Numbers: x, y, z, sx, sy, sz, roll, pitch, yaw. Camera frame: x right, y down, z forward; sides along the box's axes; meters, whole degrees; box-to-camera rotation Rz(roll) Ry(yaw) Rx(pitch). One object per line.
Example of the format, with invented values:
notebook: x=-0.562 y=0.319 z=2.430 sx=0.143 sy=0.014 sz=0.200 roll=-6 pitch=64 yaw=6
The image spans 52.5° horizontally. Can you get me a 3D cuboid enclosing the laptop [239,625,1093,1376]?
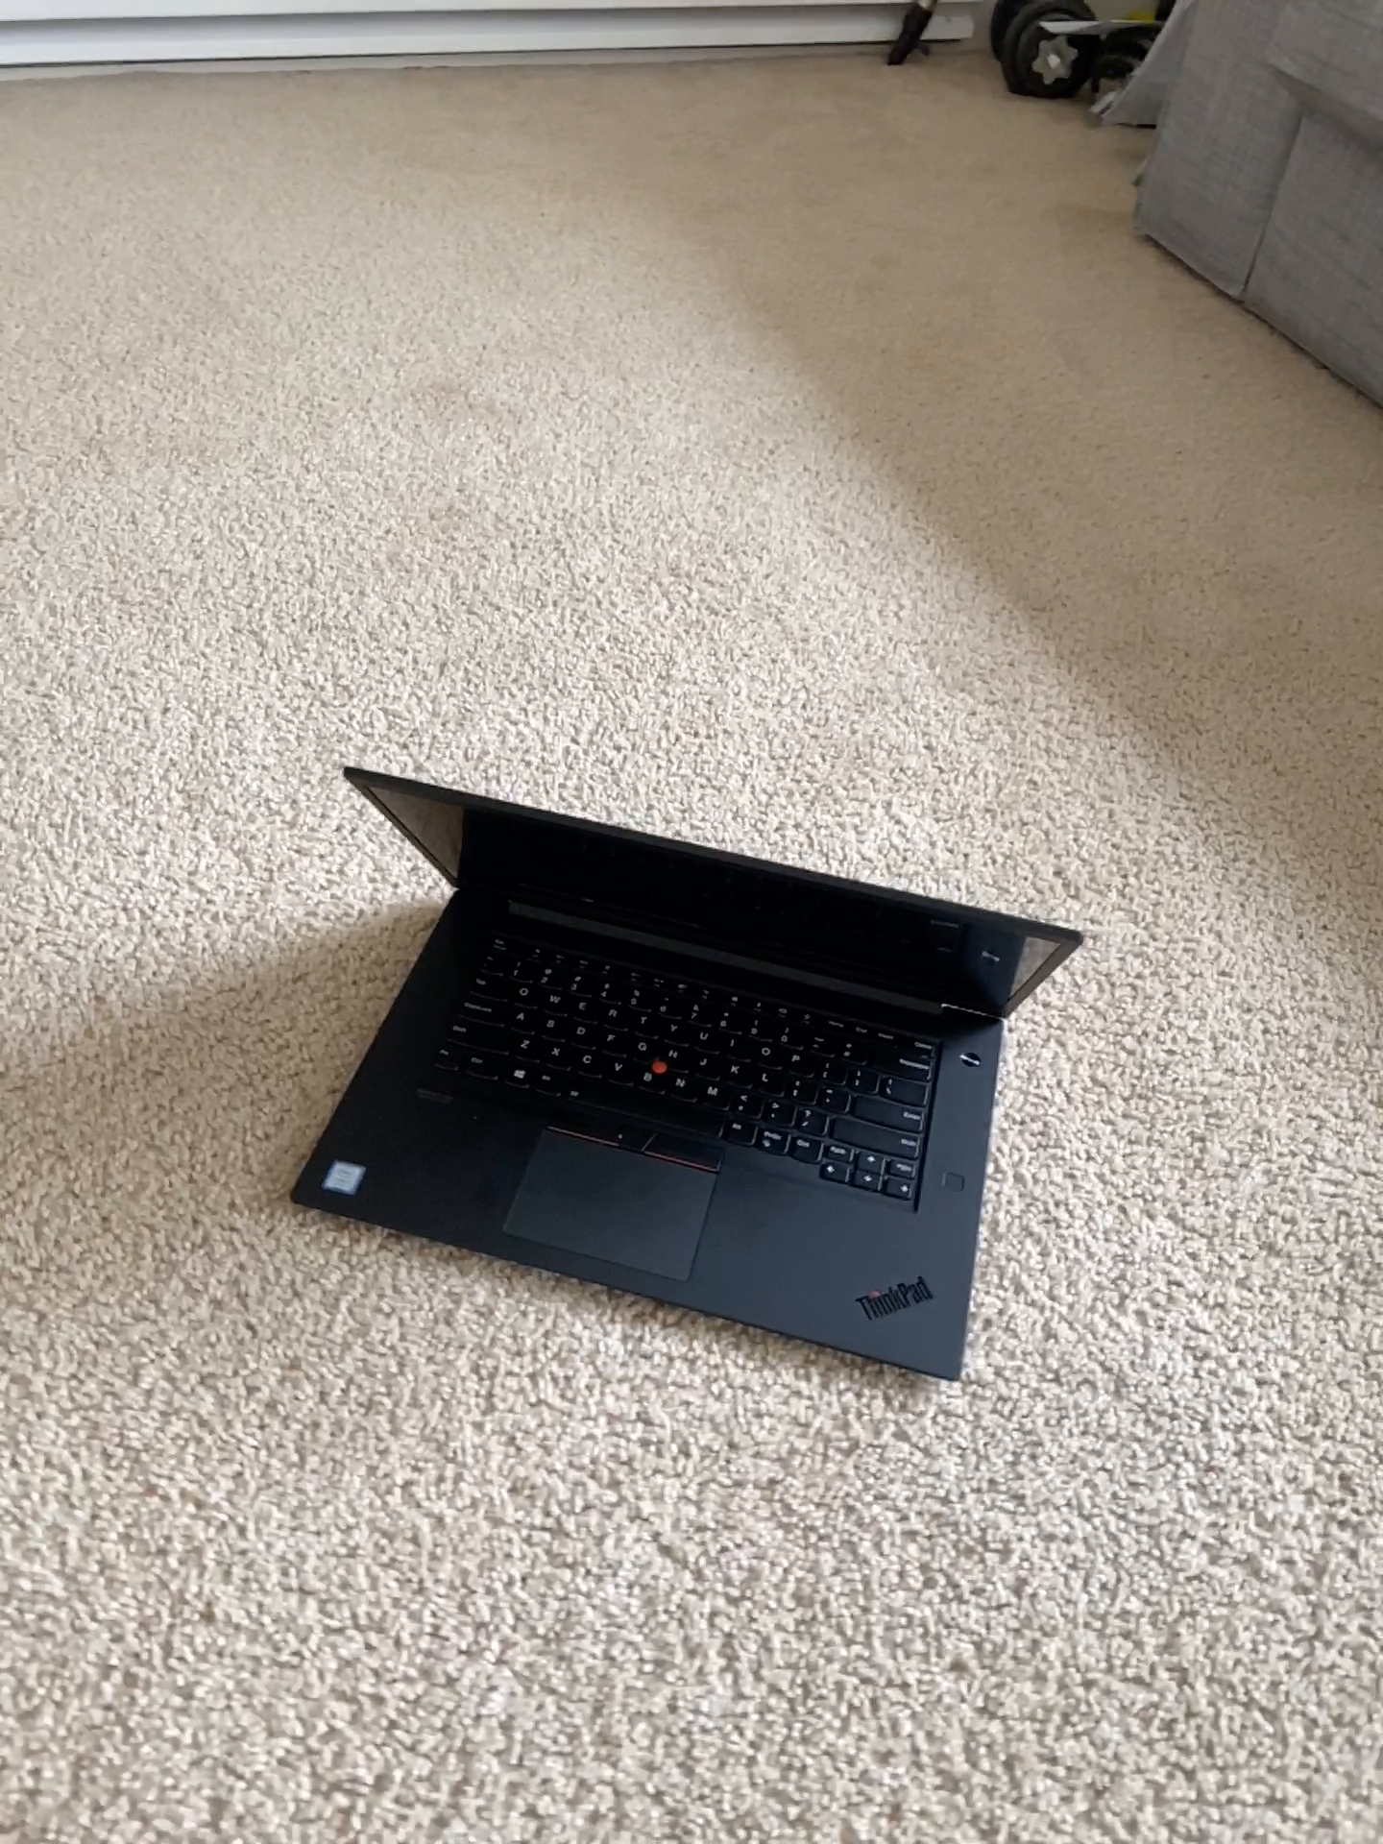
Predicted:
laptop: x=-0.001 y=0.032 z=0.738 sx=0.355 sy=0.198 sz=0.244 roll=13 pitch=46 yaw=7
